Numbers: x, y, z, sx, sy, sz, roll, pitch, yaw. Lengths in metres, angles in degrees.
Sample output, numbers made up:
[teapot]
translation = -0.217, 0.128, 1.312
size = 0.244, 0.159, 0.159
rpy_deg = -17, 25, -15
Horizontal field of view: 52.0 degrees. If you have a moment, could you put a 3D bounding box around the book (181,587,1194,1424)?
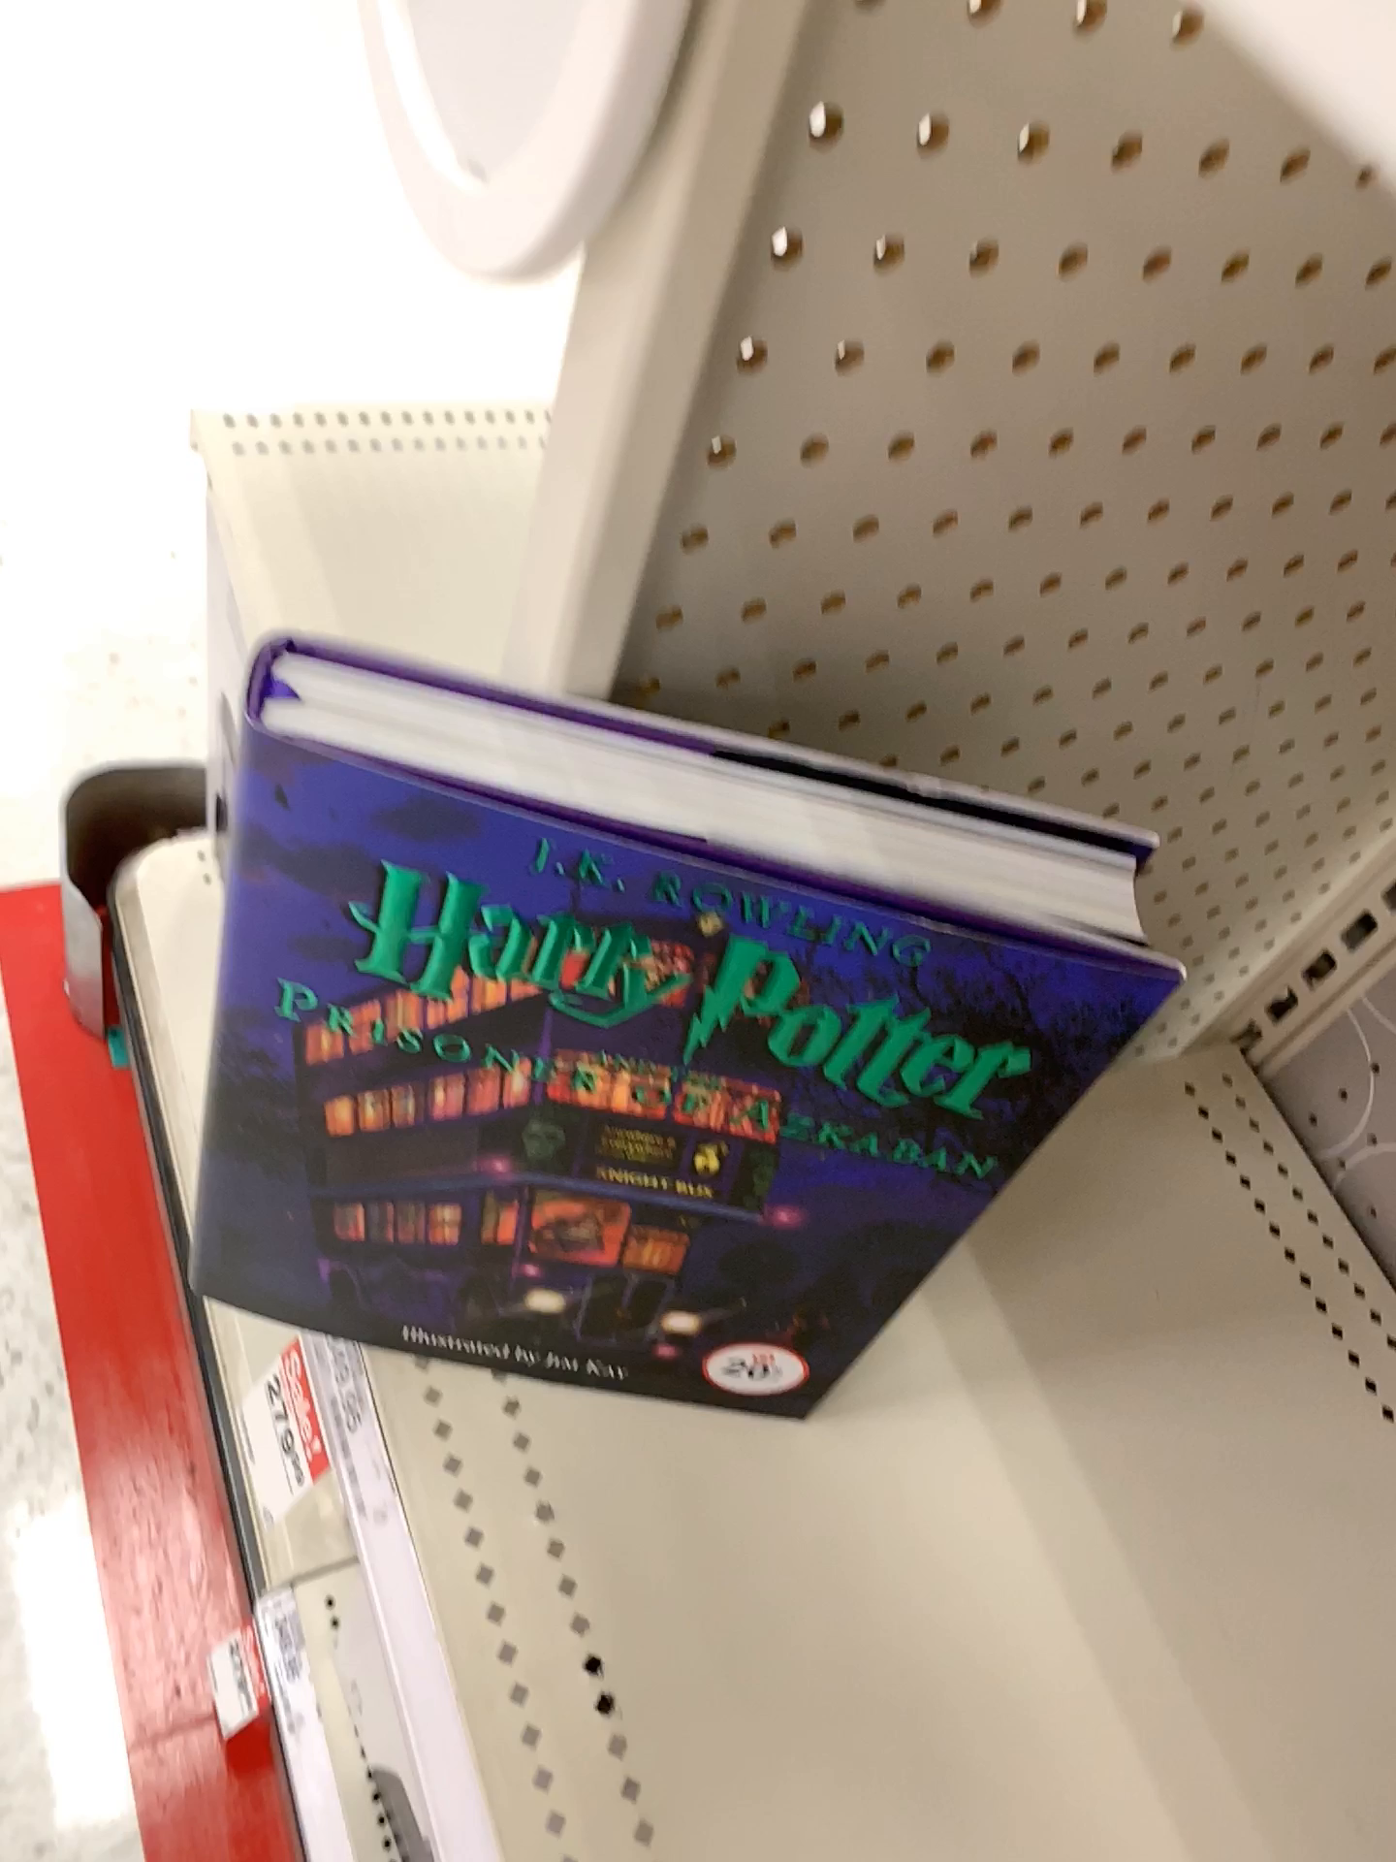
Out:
[book]
translation = -0.031, 0.053, 0.446
size = 0.240, 0.281, 0.050
rpy_deg = 13, 47, -9
